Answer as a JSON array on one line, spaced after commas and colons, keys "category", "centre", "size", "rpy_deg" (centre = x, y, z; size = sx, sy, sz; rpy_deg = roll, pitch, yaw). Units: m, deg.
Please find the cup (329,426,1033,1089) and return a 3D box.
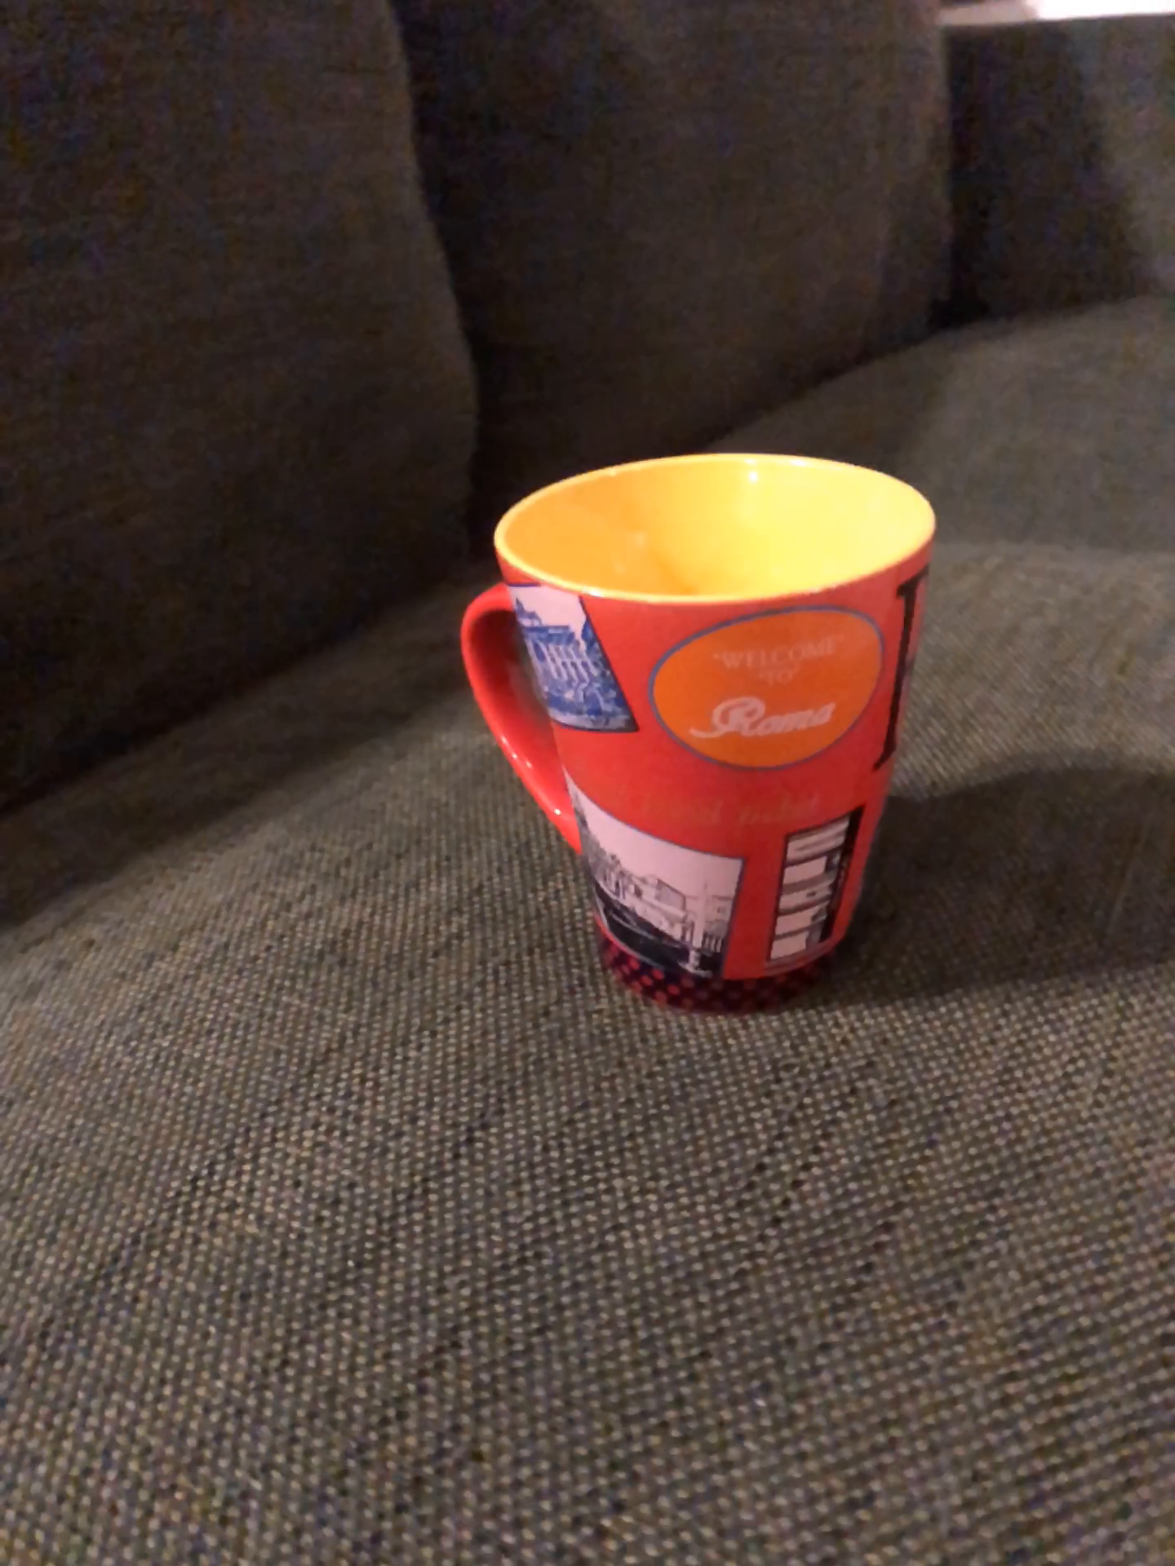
[{"category": "cup", "centre": [0.021, -0.017, 0.303], "size": [0.120, 0.099, 0.090], "rpy_deg": [20, 35, 39]}]
